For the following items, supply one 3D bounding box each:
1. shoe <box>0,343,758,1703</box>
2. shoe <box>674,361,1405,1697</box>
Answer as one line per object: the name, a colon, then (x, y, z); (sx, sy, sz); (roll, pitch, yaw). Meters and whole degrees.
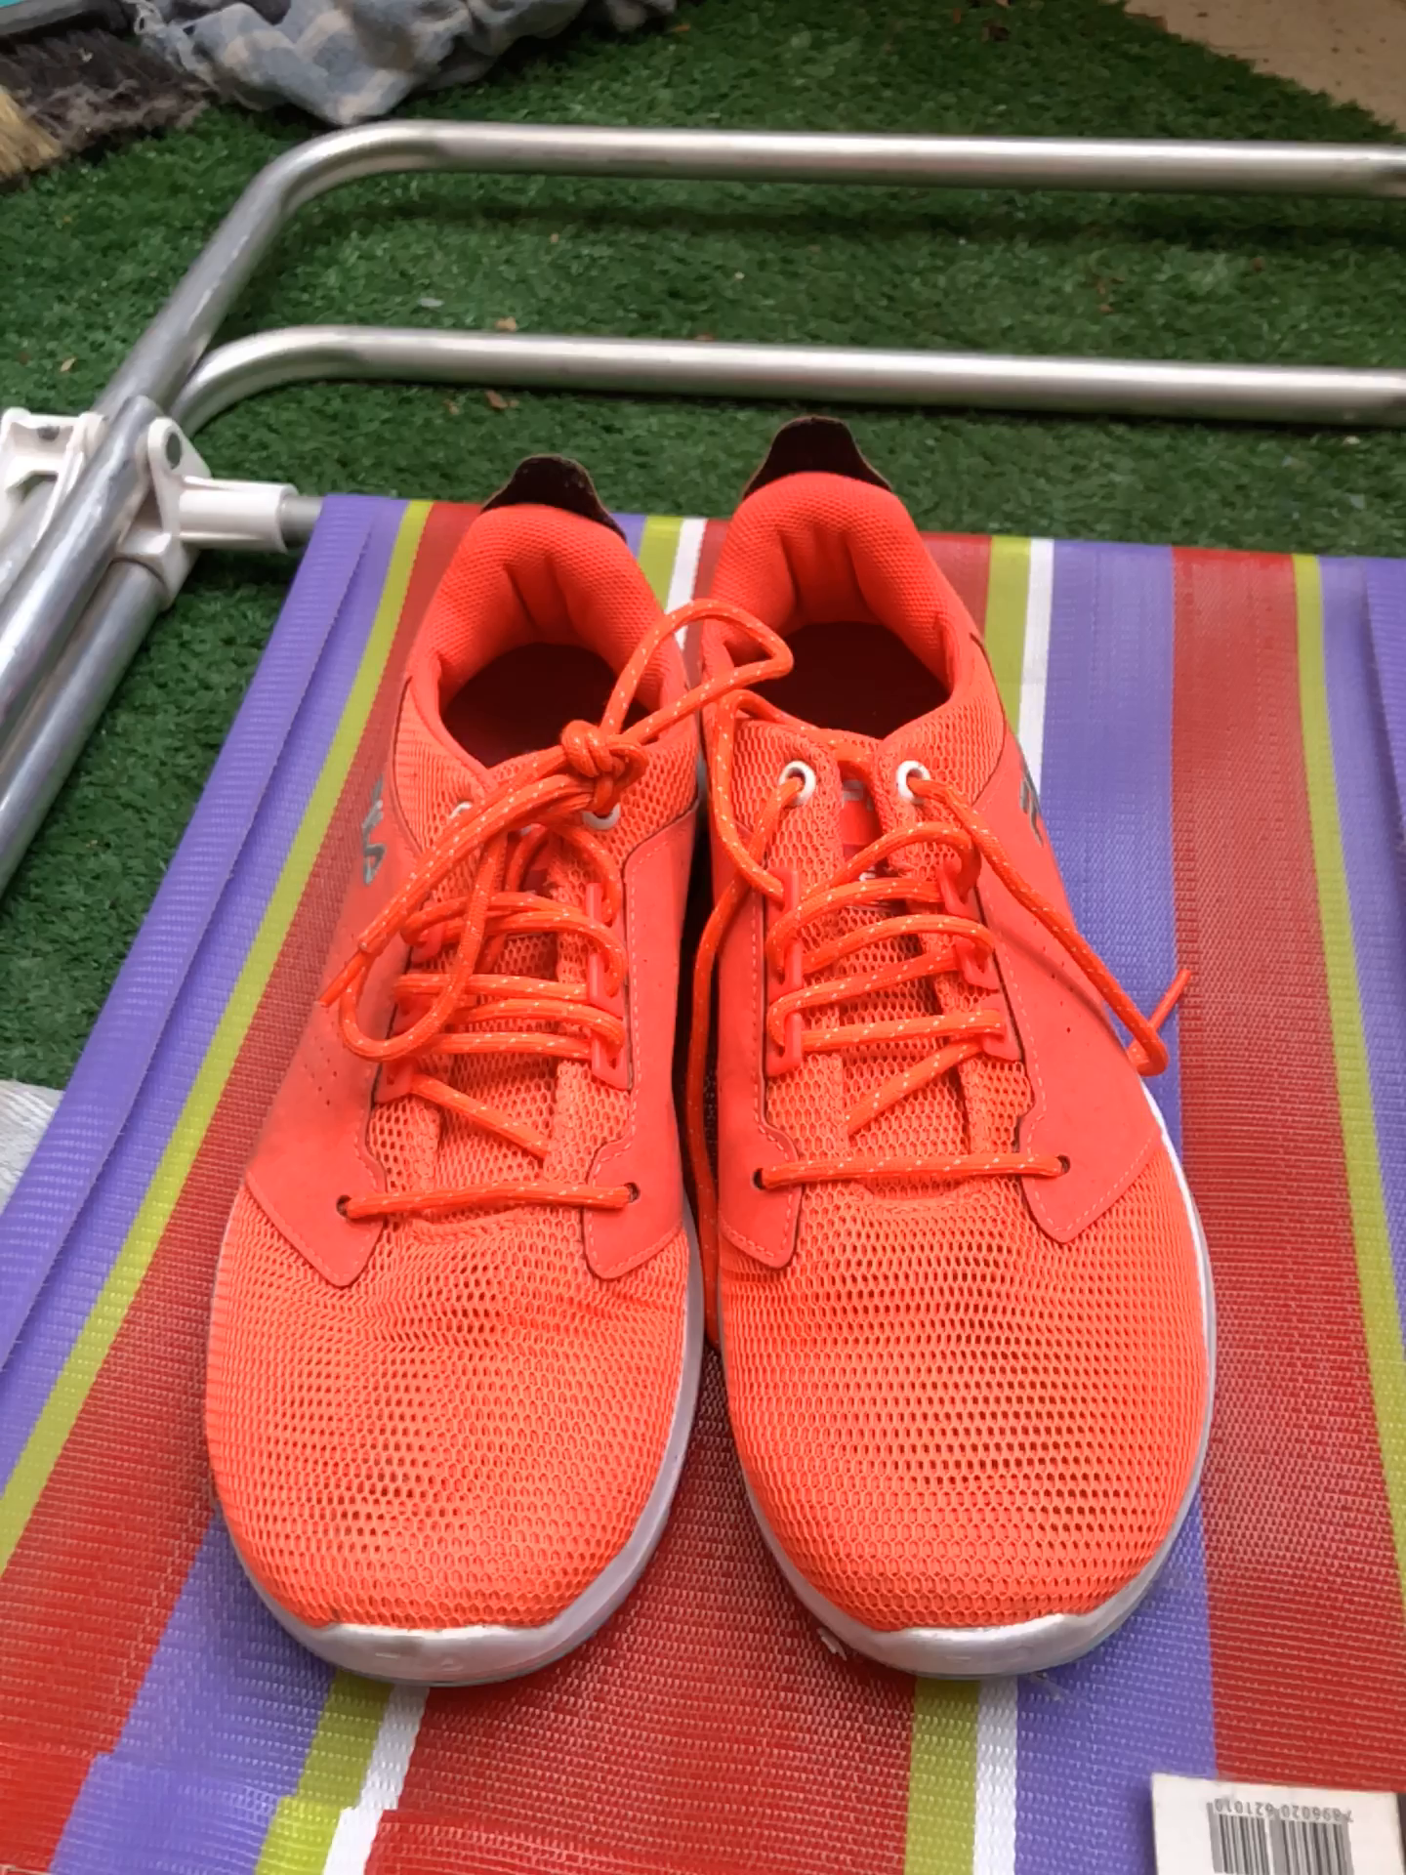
shoe: (-0.044, 0.002, 0.288); (0.100, 0.099, 0.231); (2, 52, 0)
shoe: (0.052, 0.001, 0.310); (0.100, 0.090, 0.251); (-5, 52, 3)
